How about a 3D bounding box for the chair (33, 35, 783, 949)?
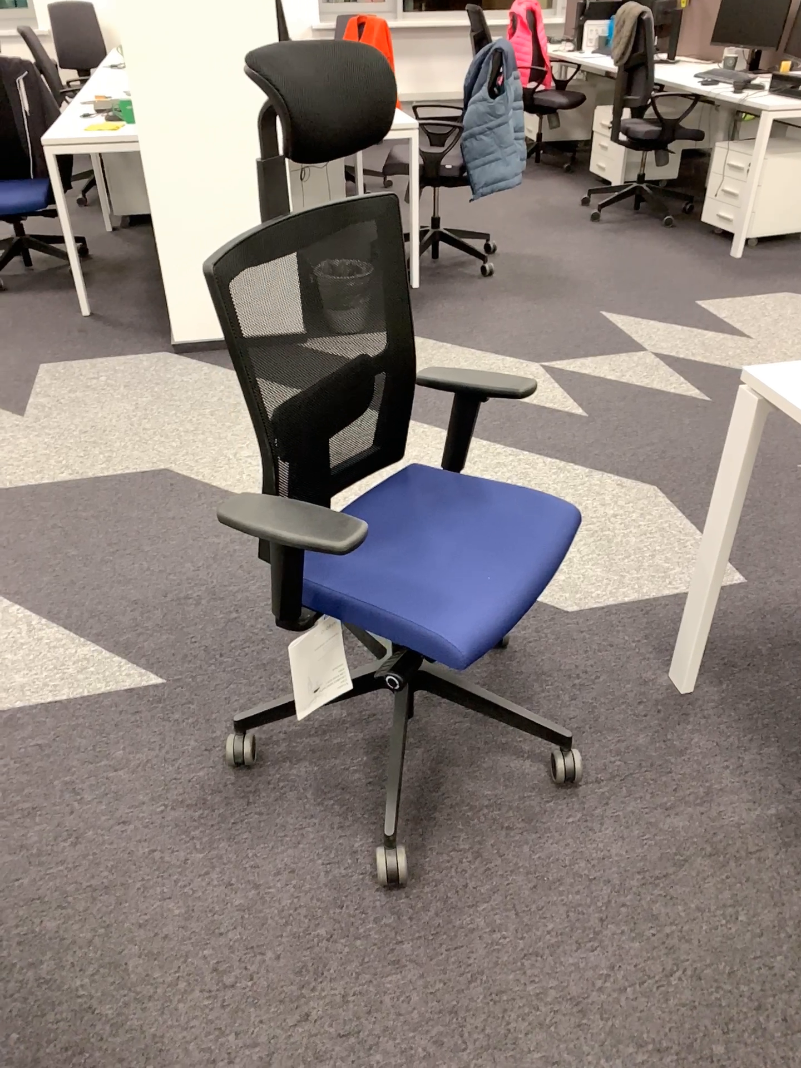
[{"bbox_3d":[0.040,-0.106,1.418,0.671,1.243,0.733,24,41,31],"label":"chair"}]
